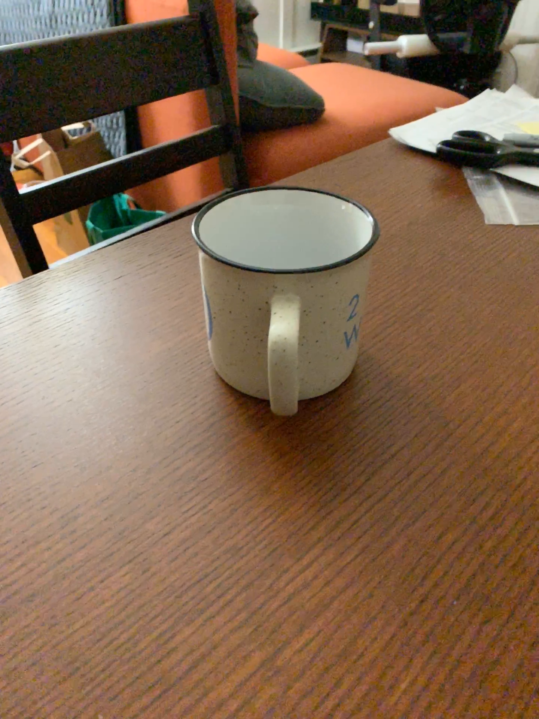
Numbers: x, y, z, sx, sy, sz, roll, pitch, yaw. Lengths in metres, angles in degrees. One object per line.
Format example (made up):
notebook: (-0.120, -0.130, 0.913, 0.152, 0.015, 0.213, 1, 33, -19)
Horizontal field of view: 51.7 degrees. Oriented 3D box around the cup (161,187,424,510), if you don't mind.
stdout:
cup: (0.011, -0.014, 0.301, 0.100, 0.099, 0.151, 1, 40, 1)
